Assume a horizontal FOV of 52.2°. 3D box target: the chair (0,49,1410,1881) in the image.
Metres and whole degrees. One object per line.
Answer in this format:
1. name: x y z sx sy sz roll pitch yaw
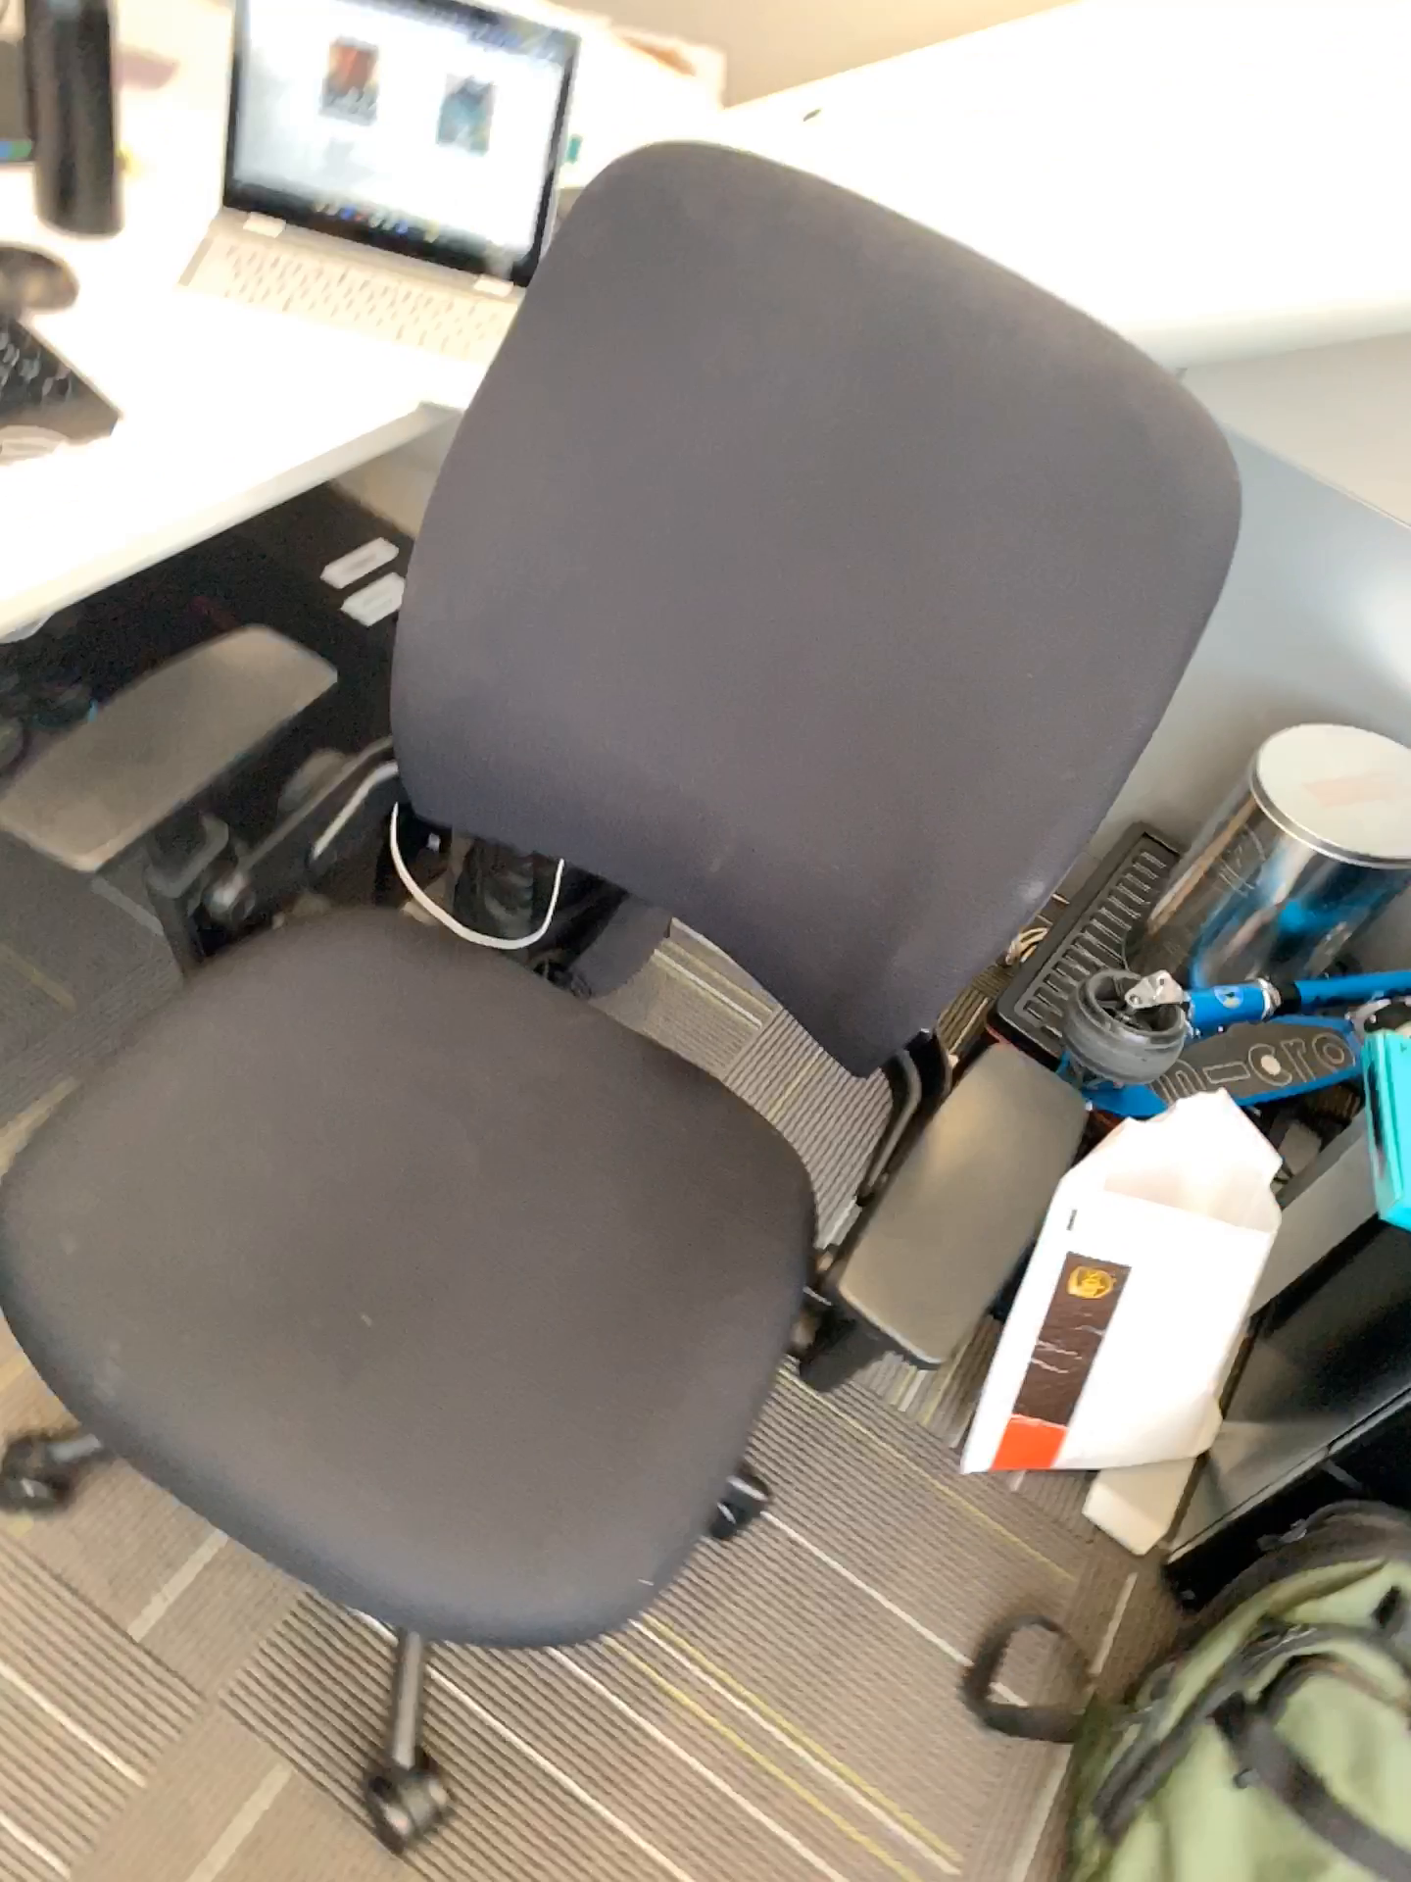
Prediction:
1. chair: -0.138 0.193 1.152 0.580 1.363 0.633 34 48 11
